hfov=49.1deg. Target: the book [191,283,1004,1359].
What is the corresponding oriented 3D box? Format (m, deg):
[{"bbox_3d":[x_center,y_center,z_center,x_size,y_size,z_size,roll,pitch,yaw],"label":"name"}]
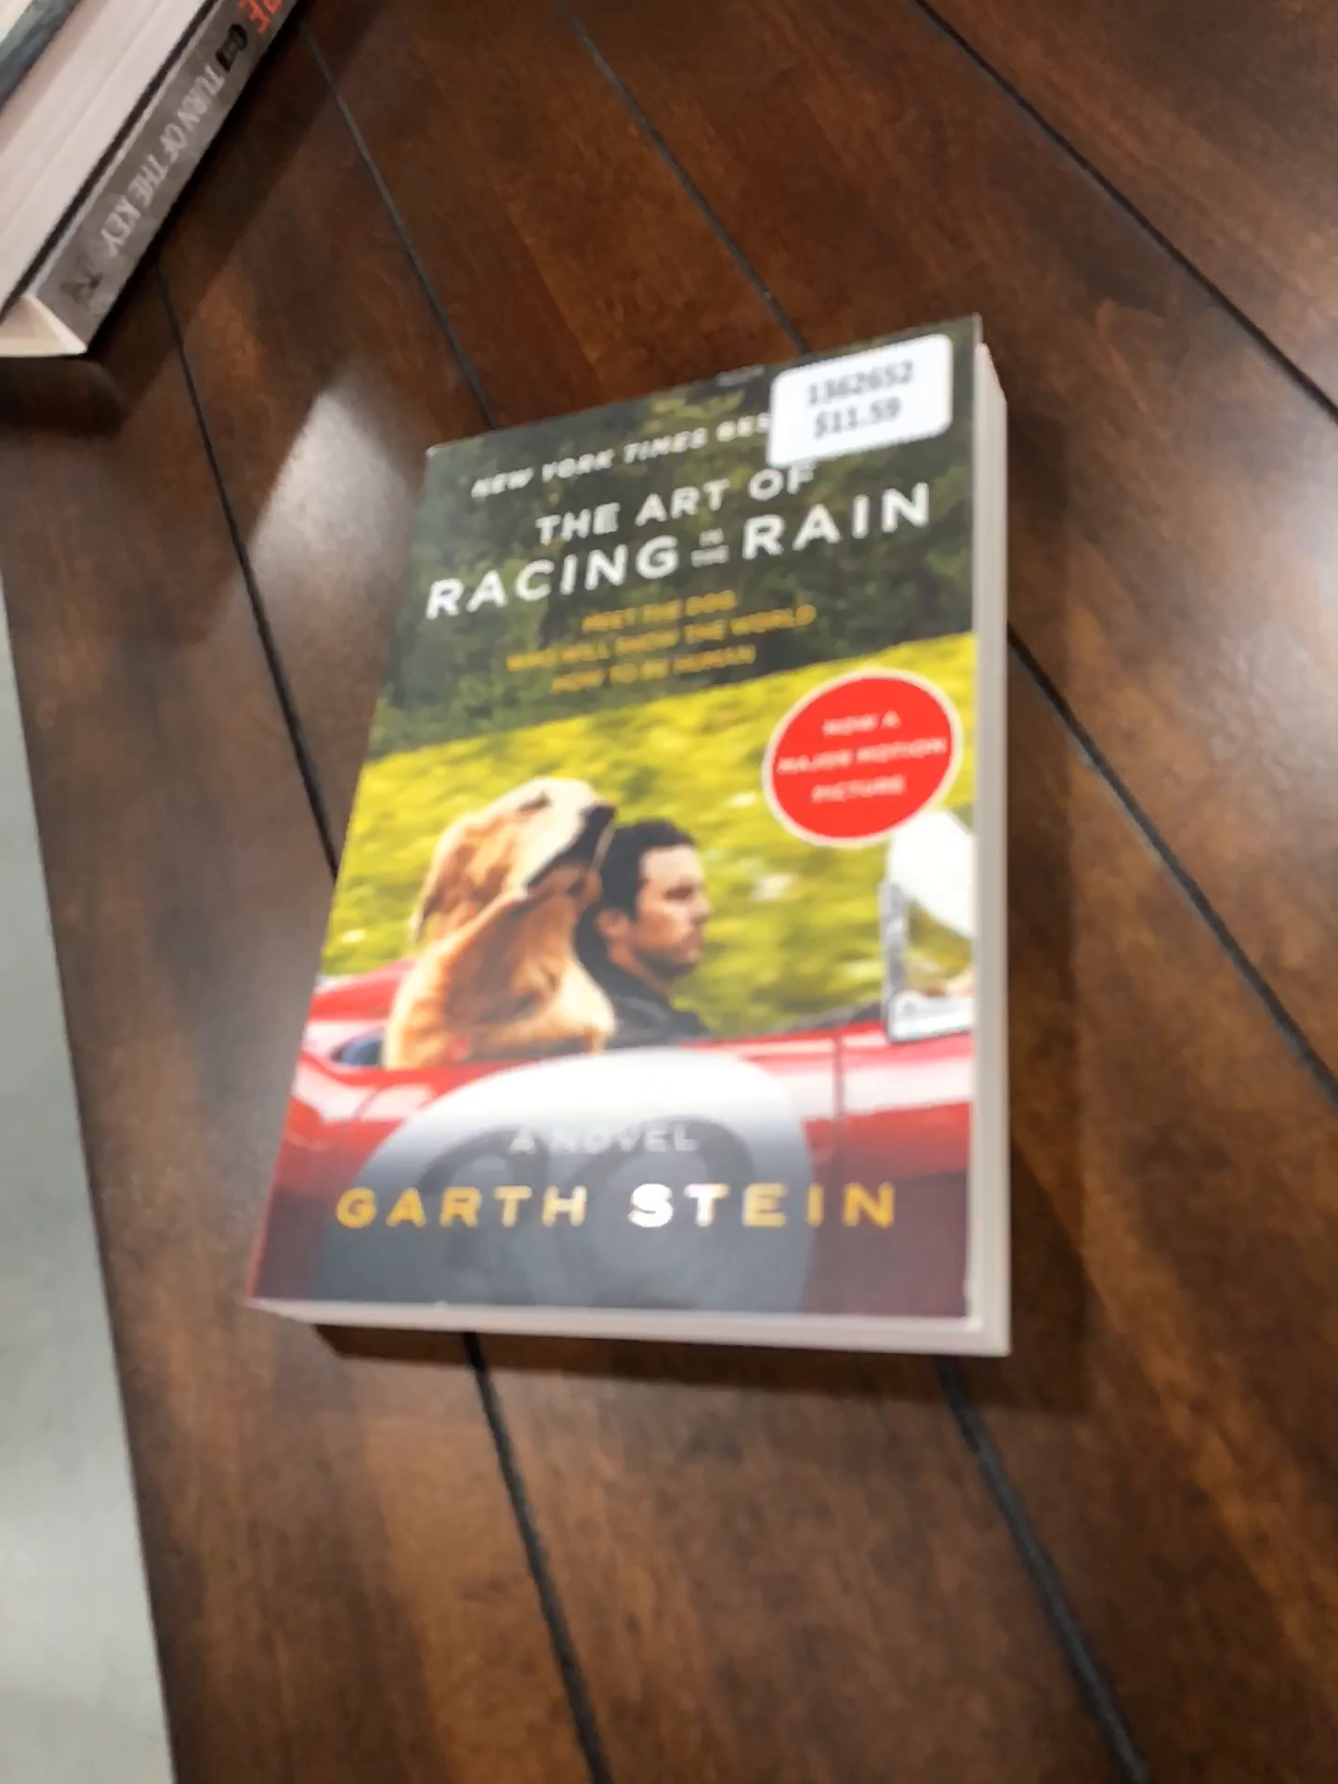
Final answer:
[{"bbox_3d":[-0.006,-0.020,0.294,0.140,0.028,0.210,-6,61,23],"label":"book"}]
